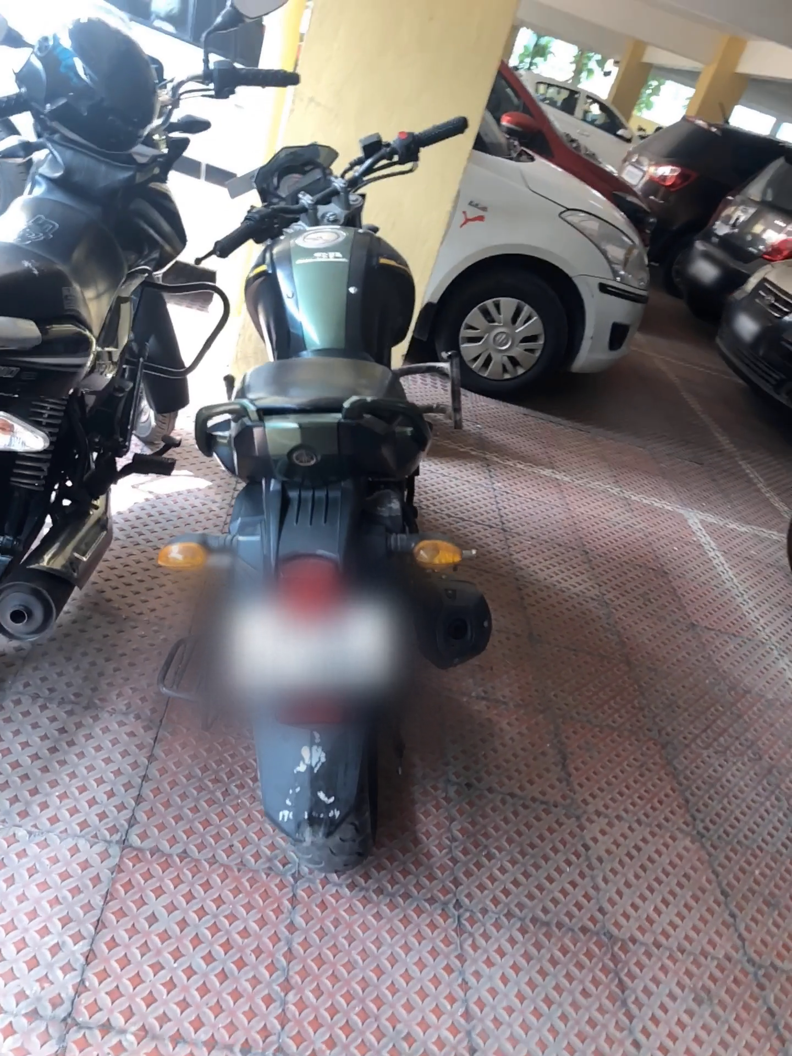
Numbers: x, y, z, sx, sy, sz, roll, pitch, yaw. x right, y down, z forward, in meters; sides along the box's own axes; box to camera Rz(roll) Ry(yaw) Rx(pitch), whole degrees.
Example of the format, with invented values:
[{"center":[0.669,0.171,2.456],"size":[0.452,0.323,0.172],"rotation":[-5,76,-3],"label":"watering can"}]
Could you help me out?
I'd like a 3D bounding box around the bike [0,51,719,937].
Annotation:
[{"center":[-0.310,-0.304,1.863],"size":[0.738,1.091,1.817],"rotation":[12,26,-15],"label":"bike"}]
